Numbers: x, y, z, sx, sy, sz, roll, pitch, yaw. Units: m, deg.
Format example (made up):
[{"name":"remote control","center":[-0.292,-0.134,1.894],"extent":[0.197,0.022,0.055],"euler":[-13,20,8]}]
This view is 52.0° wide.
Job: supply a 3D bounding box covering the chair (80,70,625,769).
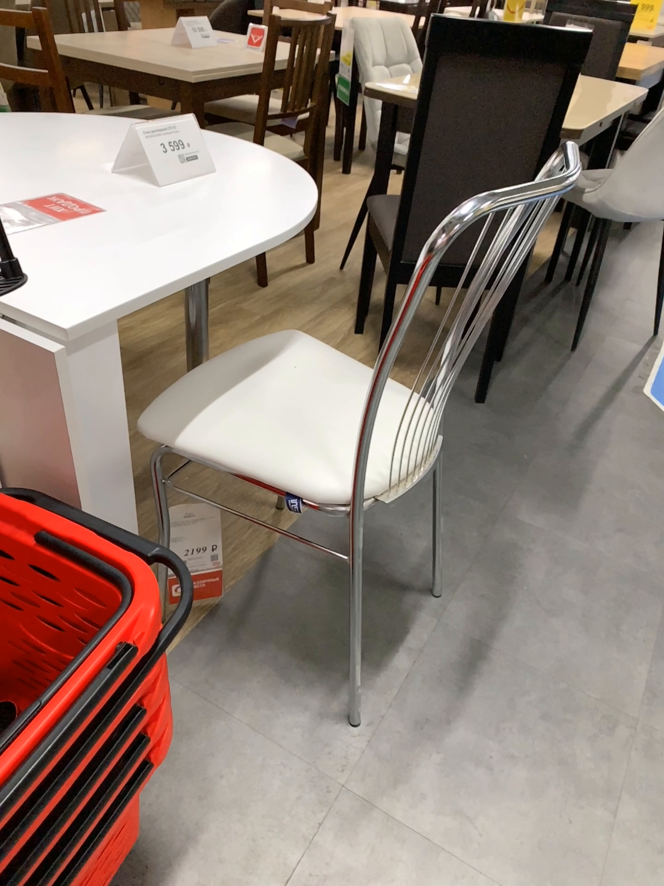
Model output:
[{"name":"chair","center":[0.014,-0.027,1.152],"extent":[0.550,0.954,0.452],"euler":[22,40,21]}]
